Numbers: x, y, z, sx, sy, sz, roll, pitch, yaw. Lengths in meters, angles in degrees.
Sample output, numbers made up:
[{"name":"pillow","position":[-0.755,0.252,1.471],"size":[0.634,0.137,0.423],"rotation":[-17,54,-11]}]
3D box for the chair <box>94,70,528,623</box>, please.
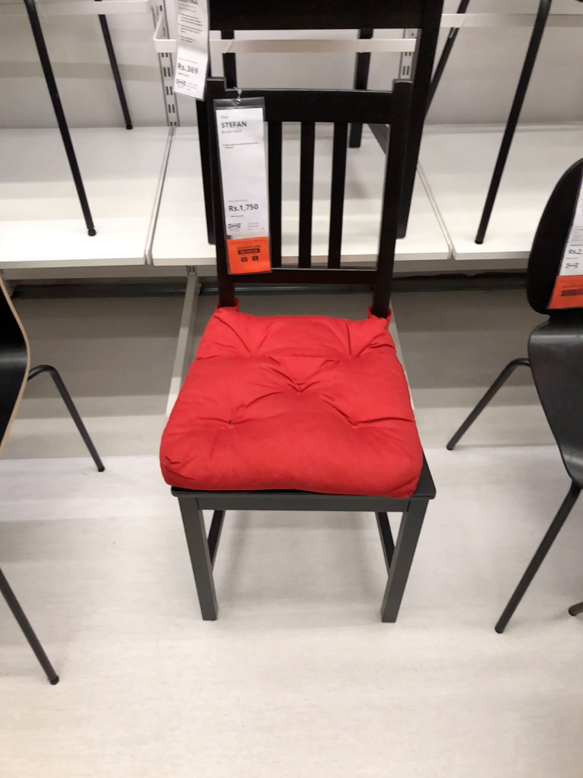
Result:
[{"name":"chair","position":[0.018,-0.020,1.101],"size":[0.430,0.834,0.483],"rotation":[0,45,0]}]
